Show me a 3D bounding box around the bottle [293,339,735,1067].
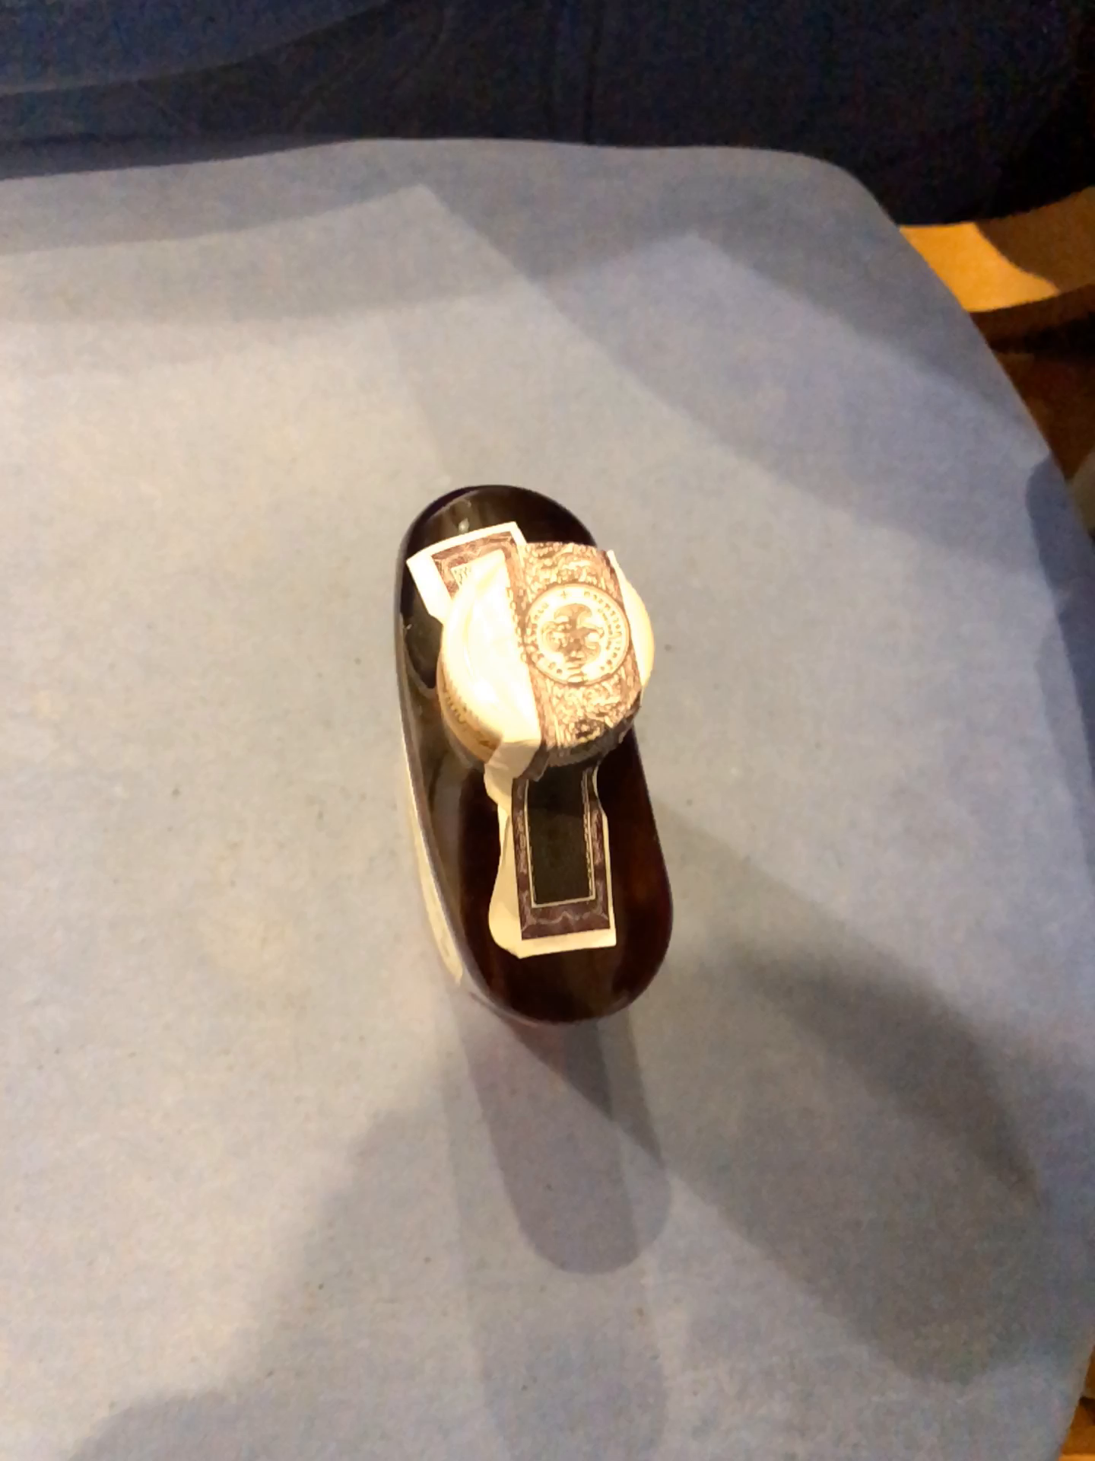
[{"bbox_3d":[-0.008,0.014,0.242,0.041,0.180,0.090,-10,77,-4],"label":"bottle"}]
